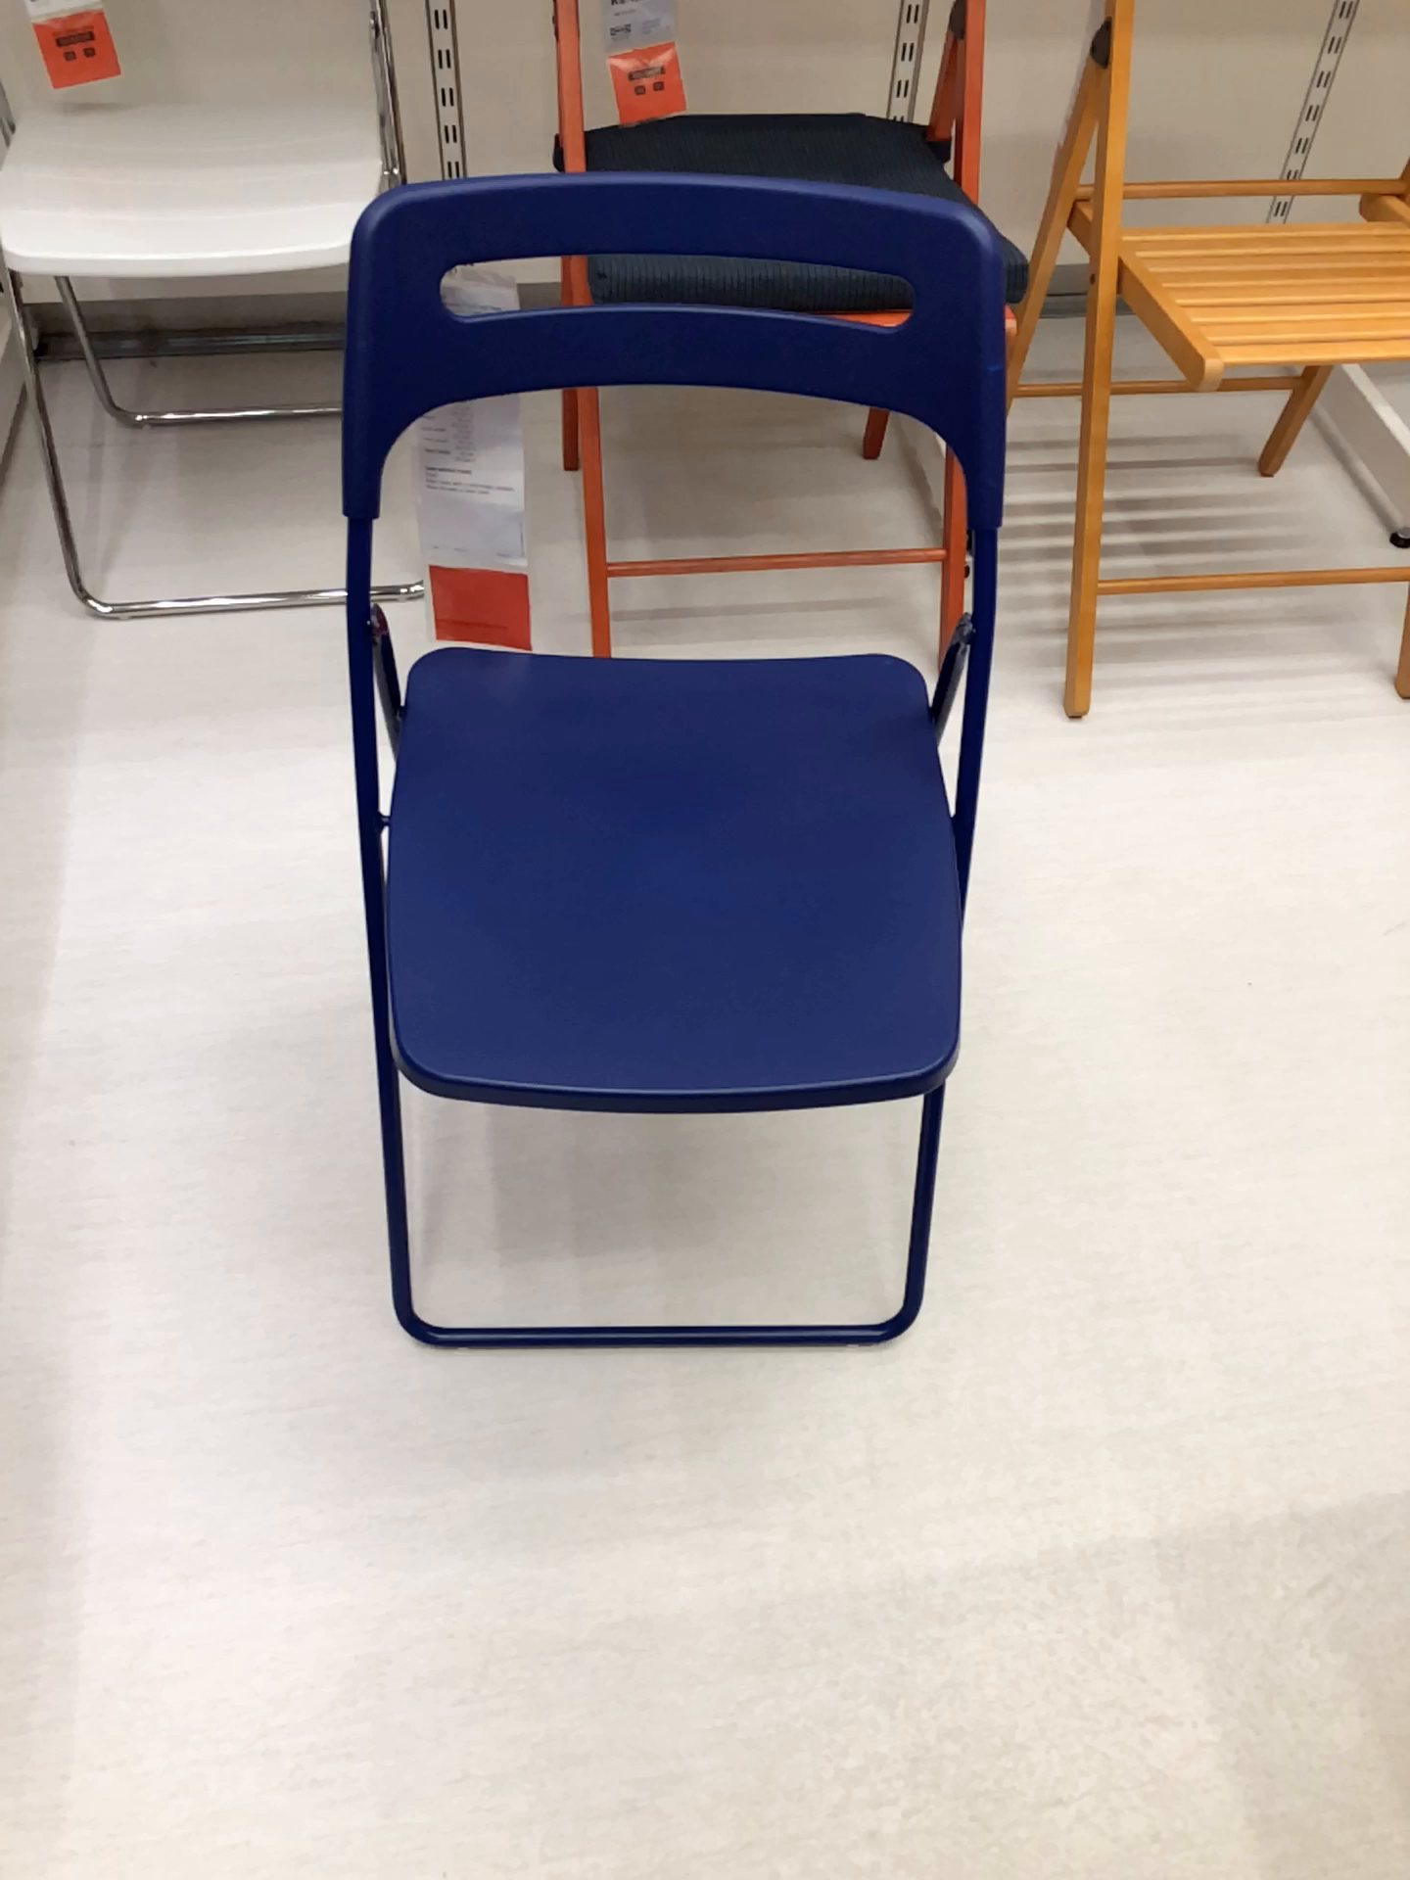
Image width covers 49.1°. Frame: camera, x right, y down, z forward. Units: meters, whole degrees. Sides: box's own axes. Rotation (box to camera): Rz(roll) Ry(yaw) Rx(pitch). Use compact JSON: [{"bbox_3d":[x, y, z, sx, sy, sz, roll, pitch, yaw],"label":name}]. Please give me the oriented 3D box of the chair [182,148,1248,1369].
[{"bbox_3d":[-0.013,-0.083,1.094,0.460,0.696,0.503,0,50,-3],"label":"chair"}]
